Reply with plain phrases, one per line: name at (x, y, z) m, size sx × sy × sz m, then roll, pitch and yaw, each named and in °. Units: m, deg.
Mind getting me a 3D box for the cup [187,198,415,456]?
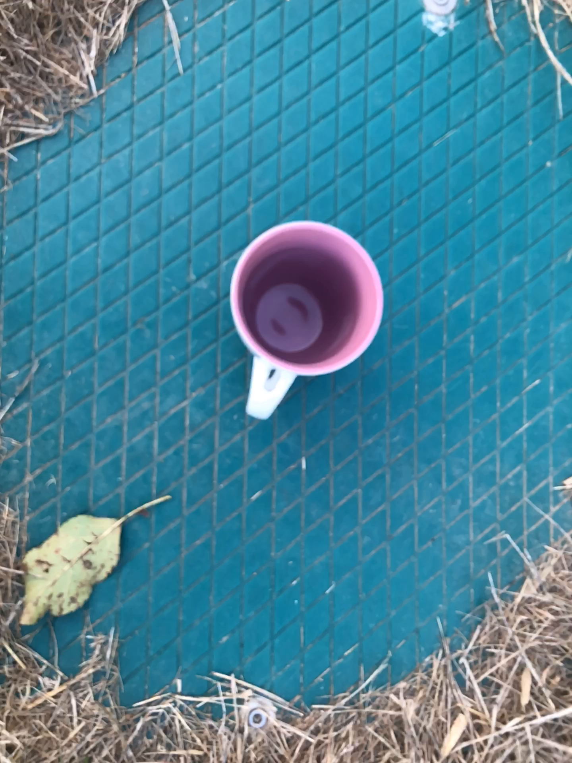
cup at (0.004, -0.029, 0.408) m, size 0.095 × 0.091 × 0.121 m, roll 21°, pitch 84°, yaw -6°
